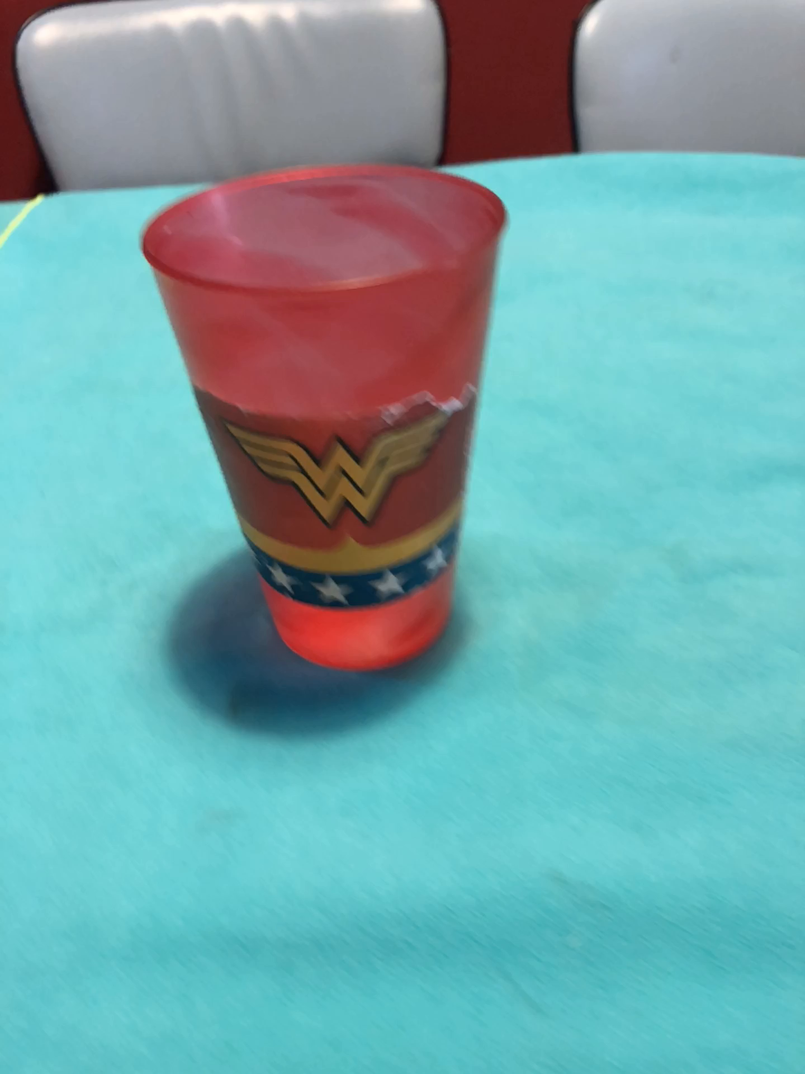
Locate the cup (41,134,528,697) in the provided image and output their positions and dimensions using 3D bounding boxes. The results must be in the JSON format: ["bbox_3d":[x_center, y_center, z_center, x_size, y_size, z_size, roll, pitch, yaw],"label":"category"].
[{"bbox_3d":[-0.020,-0.032,0.235,0.090,0.109,0.091,-2,38,2],"label":"cup"}]
